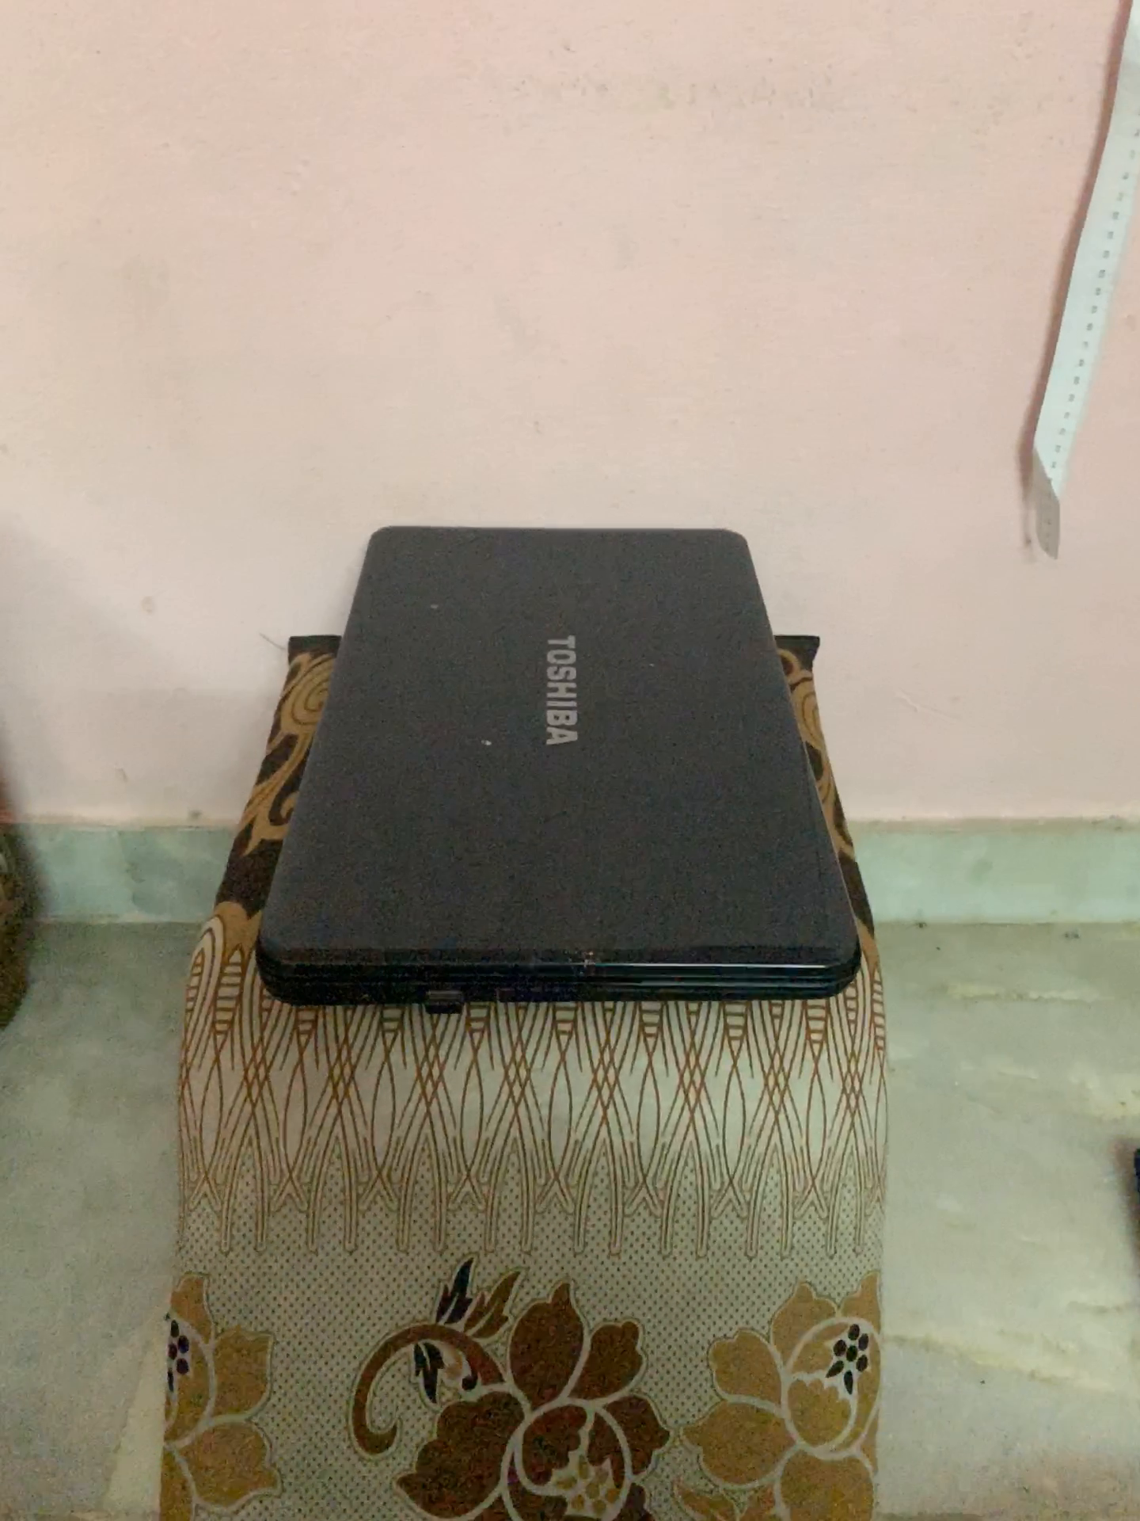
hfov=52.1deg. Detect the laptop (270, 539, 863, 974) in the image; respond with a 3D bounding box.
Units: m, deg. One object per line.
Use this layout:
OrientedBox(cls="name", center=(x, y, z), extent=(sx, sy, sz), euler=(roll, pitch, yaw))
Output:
OrientedBox(cls="laptop", center=(-0.007, -0.030, 0.588), extent=(0.222, 0.001, 0.372), euler=(-1, 36, -1))
